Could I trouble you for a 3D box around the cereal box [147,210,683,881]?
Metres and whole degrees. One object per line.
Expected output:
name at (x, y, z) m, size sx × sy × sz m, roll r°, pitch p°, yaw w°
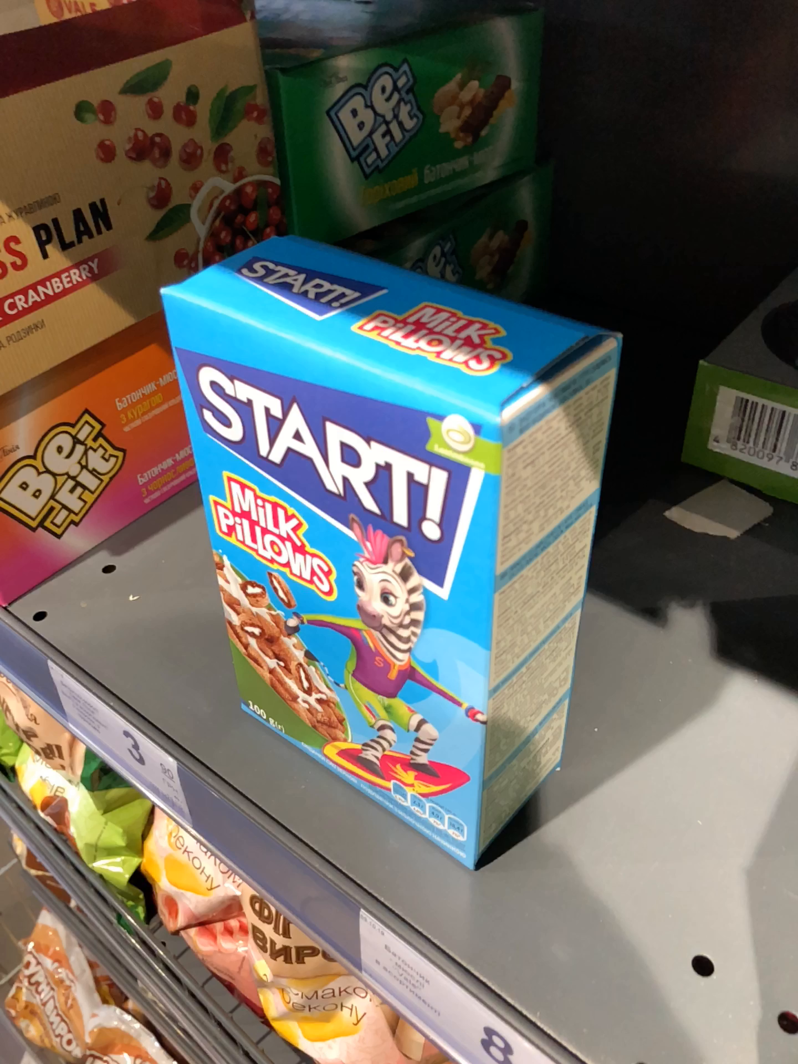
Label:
cereal box at (0.003, 0.005, 0.280) m, size 0.120 × 0.169 × 0.070 m, roll 25°, pitch 46°, yaw 29°
